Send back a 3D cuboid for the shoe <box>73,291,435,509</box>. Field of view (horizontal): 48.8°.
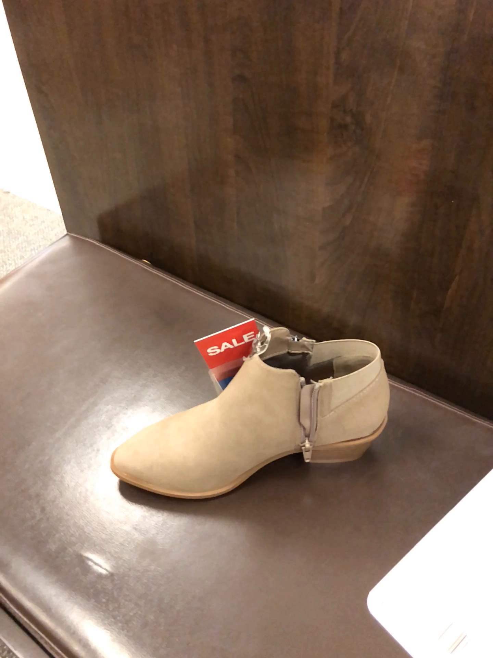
[{"bbox_3d":[0.004,0.062,0.468,0.260,0.133,0.097,-6,43,-4],"label":"shoe"}]
